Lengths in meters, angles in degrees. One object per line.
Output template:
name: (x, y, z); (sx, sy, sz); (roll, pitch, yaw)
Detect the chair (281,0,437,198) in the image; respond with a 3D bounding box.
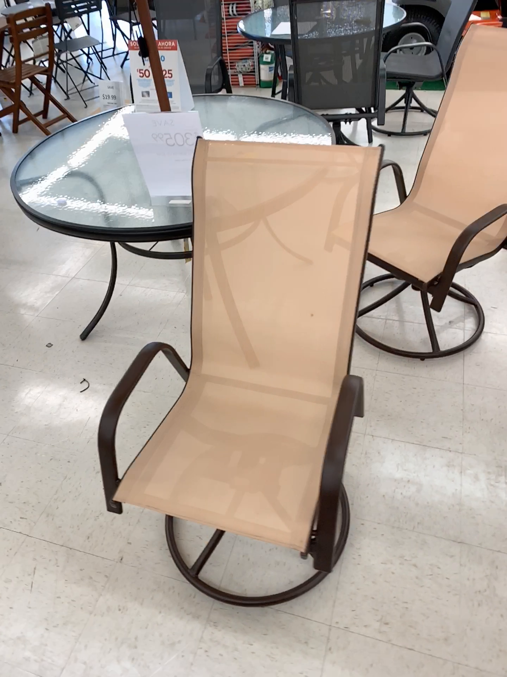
chair: (0.483, -1.348, 2.692); (0.568, 0.916, 0.711); (-6, 42, 0)

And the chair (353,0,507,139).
chair: (0.992, -1.730, 2.981); (0.708, 0.916, 0.571); (7, 43, 14)

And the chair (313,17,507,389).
chair: (0.664, -0.471, 1.803); (0.707, 0.956, 0.571); (-24, 45, -19)

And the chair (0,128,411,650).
chair: (-0.003, 0.118, 1.247); (0.569, 0.956, 0.710); (9, 44, 16)
